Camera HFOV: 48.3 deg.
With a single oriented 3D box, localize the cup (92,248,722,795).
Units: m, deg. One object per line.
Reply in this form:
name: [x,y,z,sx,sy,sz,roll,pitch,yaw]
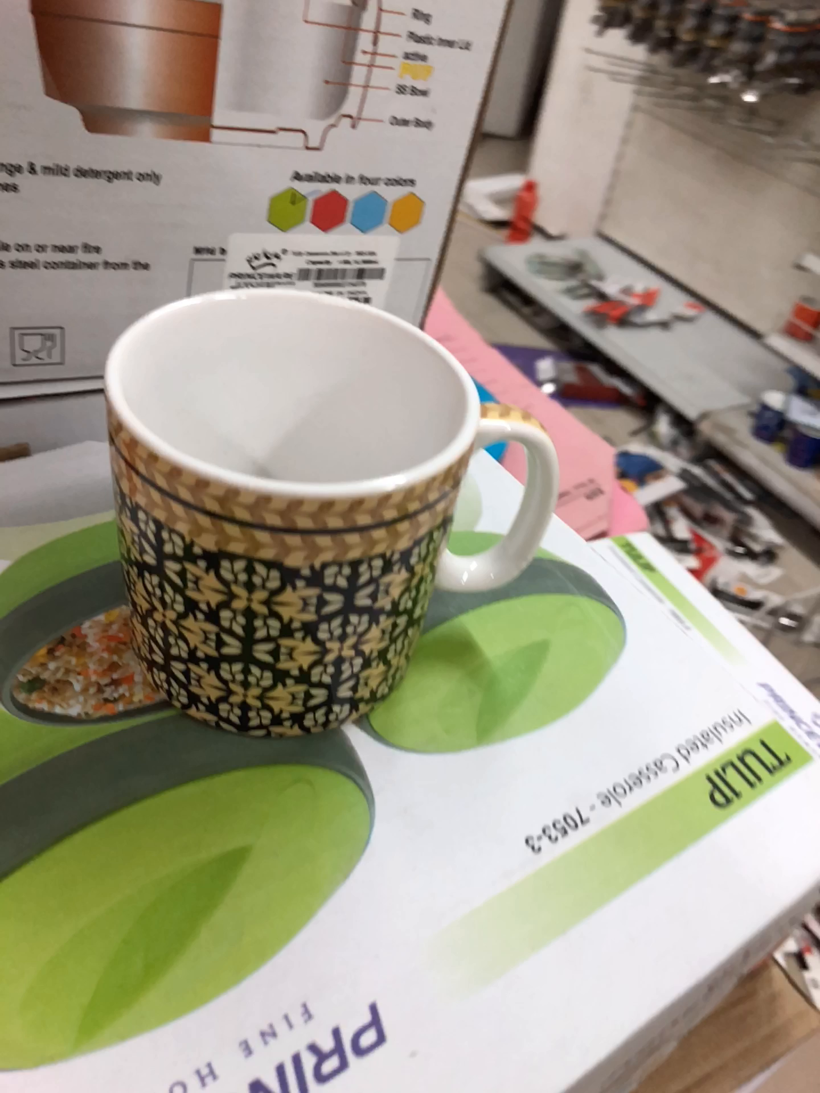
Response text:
cup: [-0.010,-0.007,0.206,0.110,0.089,0.070,-3,41,-17]
